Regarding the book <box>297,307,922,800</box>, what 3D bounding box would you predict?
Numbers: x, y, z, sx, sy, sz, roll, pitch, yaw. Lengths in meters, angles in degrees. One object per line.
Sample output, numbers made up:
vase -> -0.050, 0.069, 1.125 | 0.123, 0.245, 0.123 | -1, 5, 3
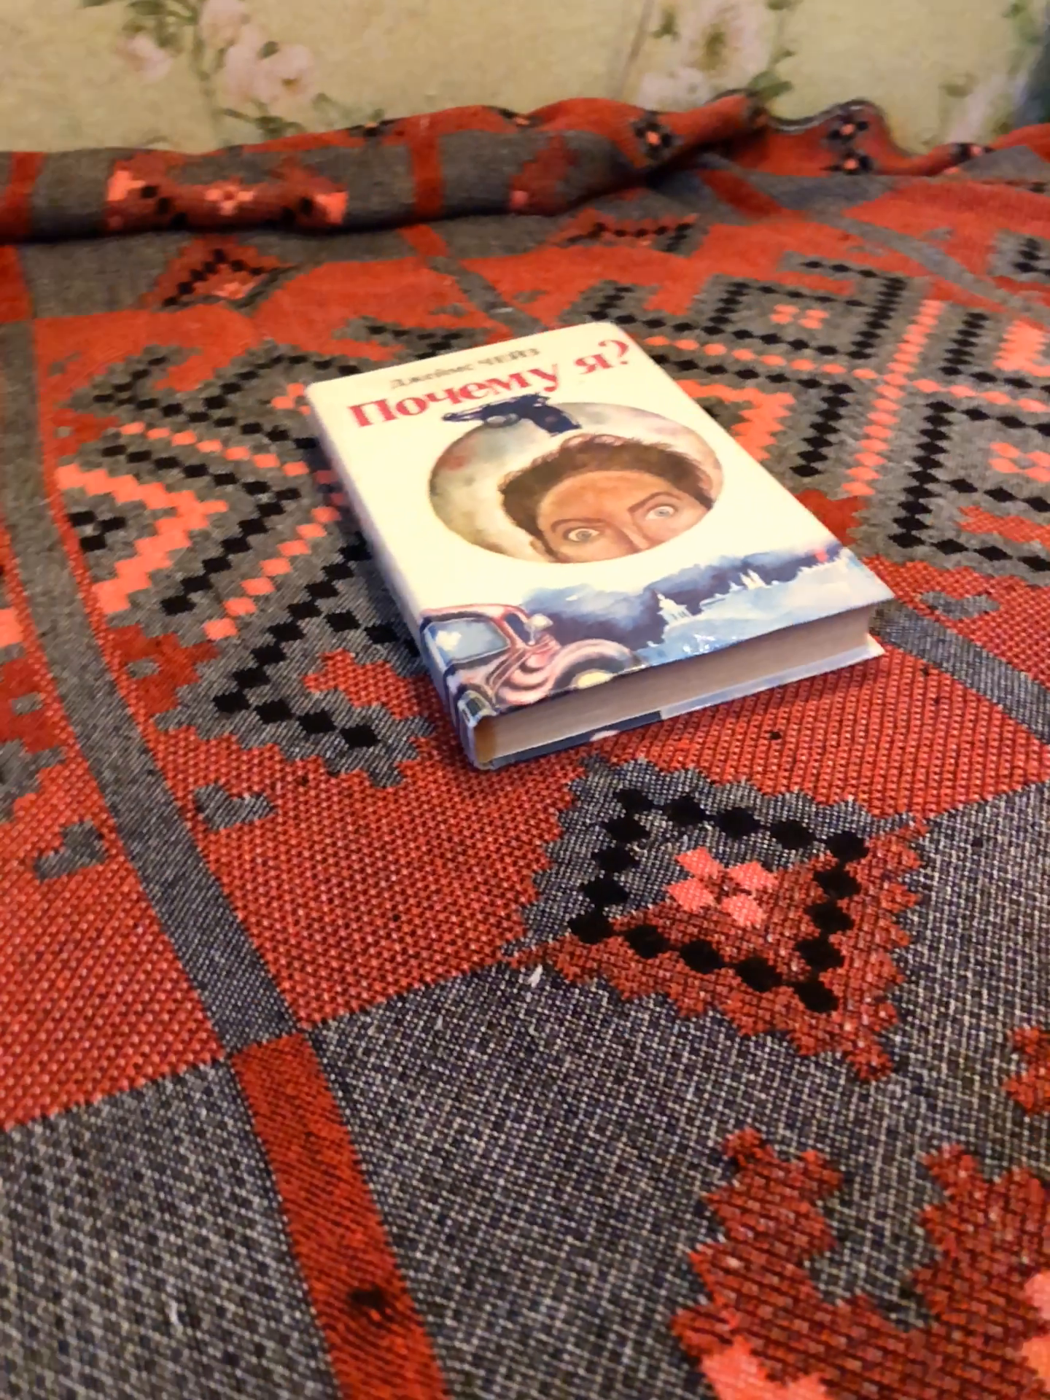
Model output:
book -> 0.014, -0.066, 0.393 | 0.133, 0.029, 0.205 | -16, 44, -14
